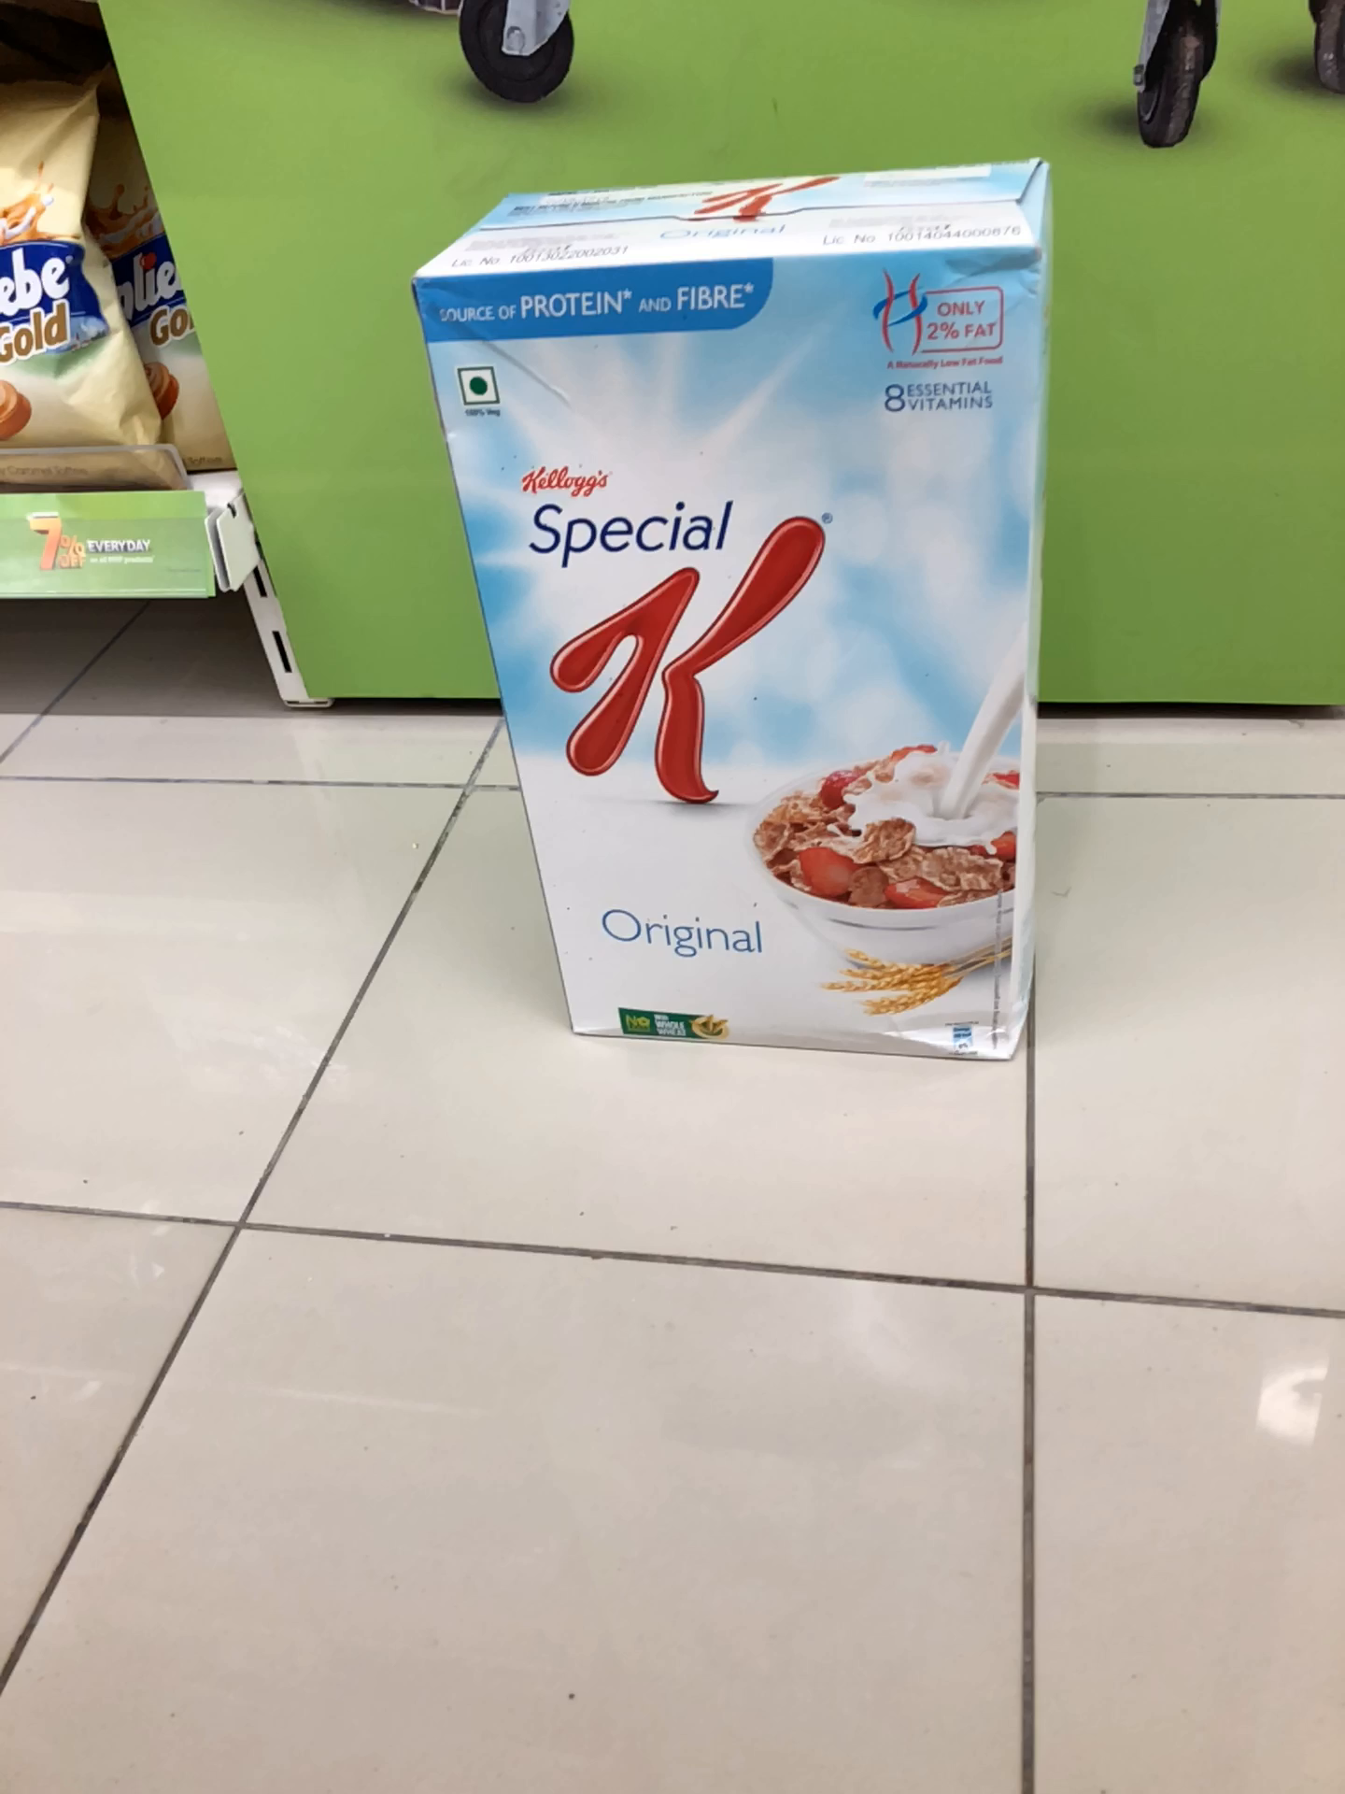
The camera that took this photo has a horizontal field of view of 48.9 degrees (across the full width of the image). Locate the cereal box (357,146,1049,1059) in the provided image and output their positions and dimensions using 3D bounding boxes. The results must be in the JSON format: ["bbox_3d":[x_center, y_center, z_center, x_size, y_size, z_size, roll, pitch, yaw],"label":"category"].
[{"bbox_3d":[0.029,-0.092,0.551,0.200,0.308,0.101,2,39,13],"label":"cereal box"}]
